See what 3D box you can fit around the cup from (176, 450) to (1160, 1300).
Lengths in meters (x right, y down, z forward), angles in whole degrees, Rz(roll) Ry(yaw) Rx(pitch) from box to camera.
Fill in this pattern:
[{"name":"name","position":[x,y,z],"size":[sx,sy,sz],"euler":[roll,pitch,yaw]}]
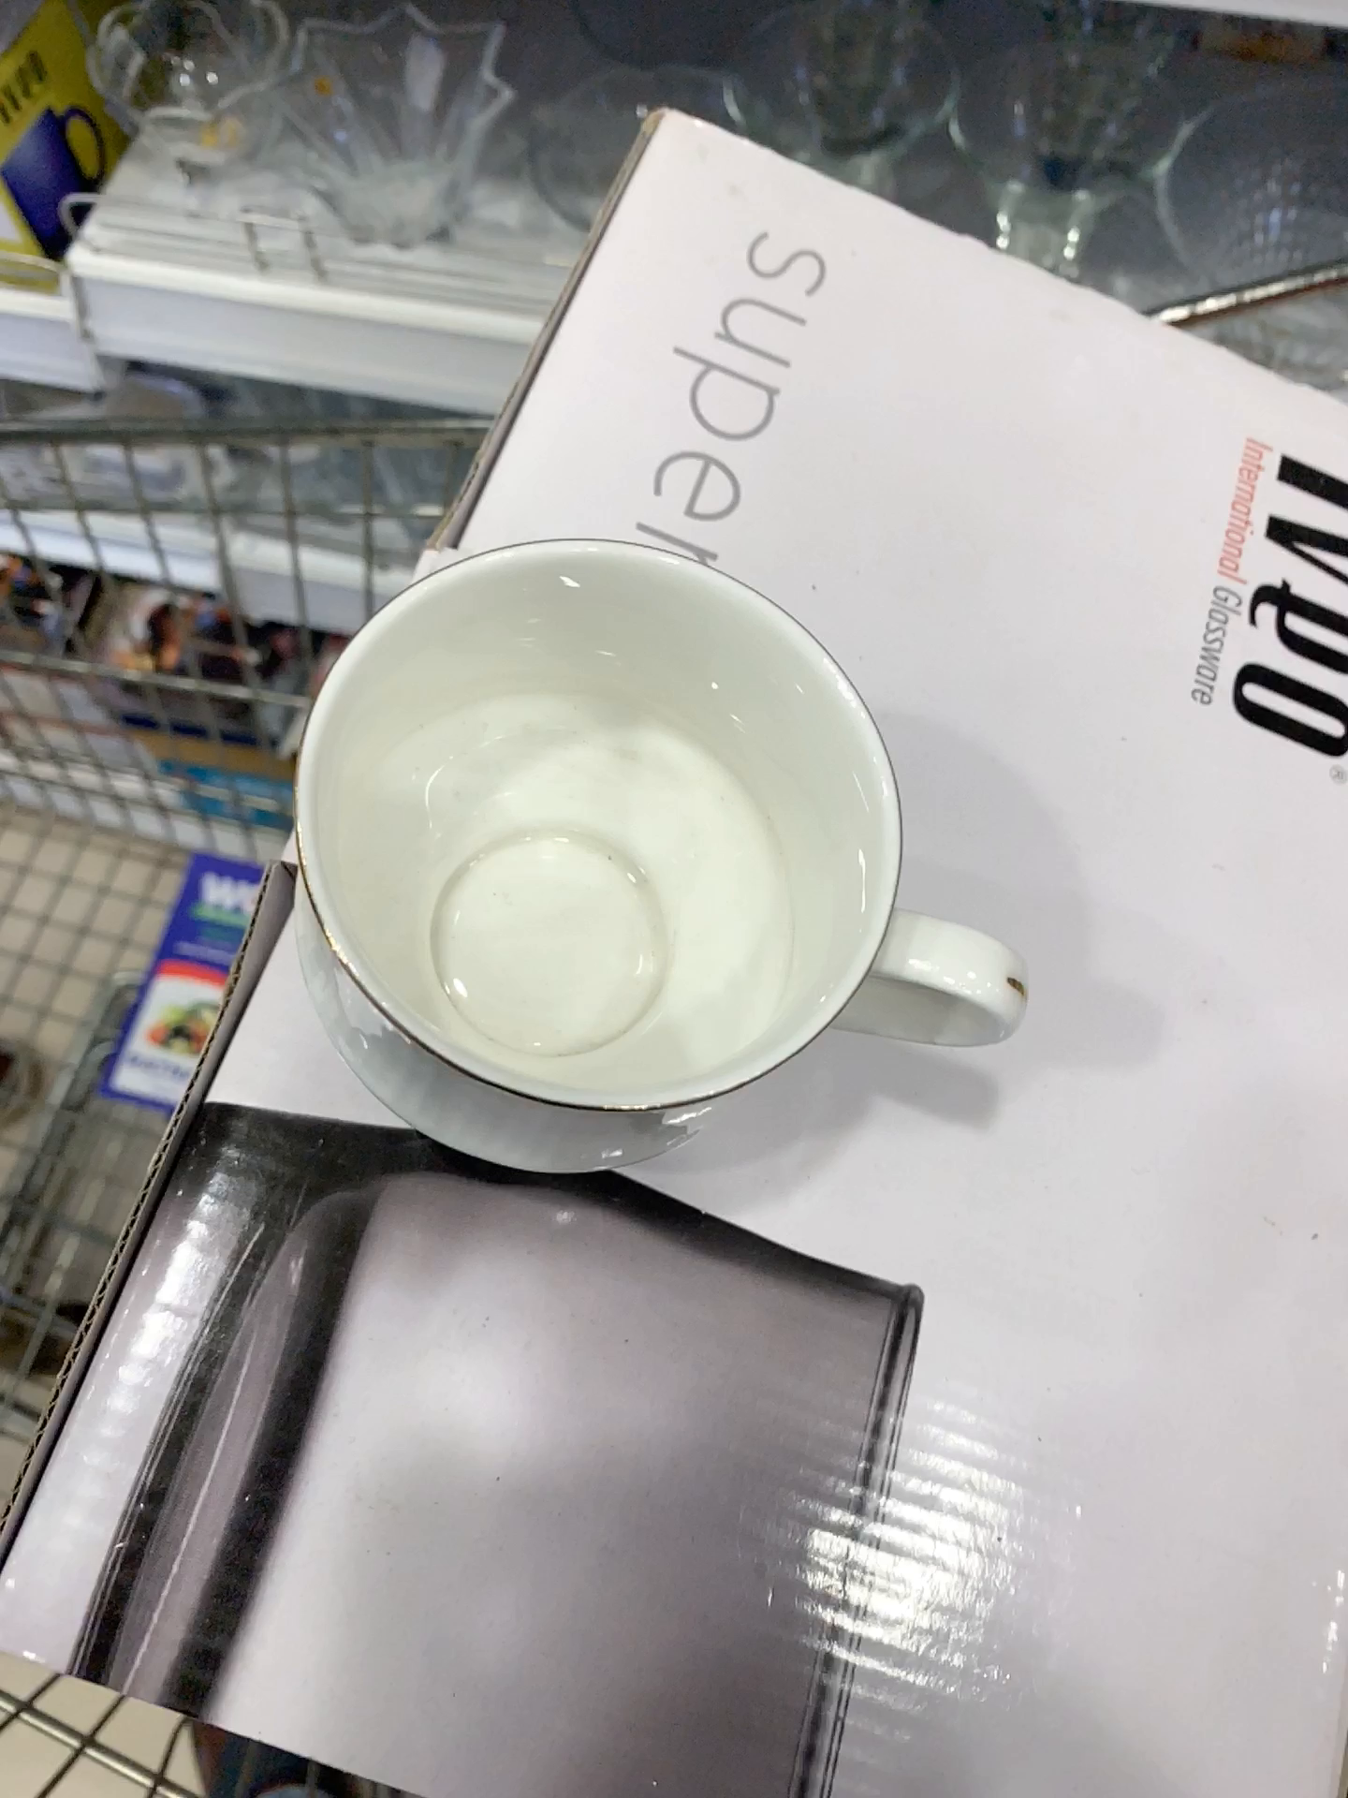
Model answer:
[{"name":"cup","position":[-0.001,0.003,0.166],"size":[0.090,0.050,0.060],"euler":[21,69,-9]}]
